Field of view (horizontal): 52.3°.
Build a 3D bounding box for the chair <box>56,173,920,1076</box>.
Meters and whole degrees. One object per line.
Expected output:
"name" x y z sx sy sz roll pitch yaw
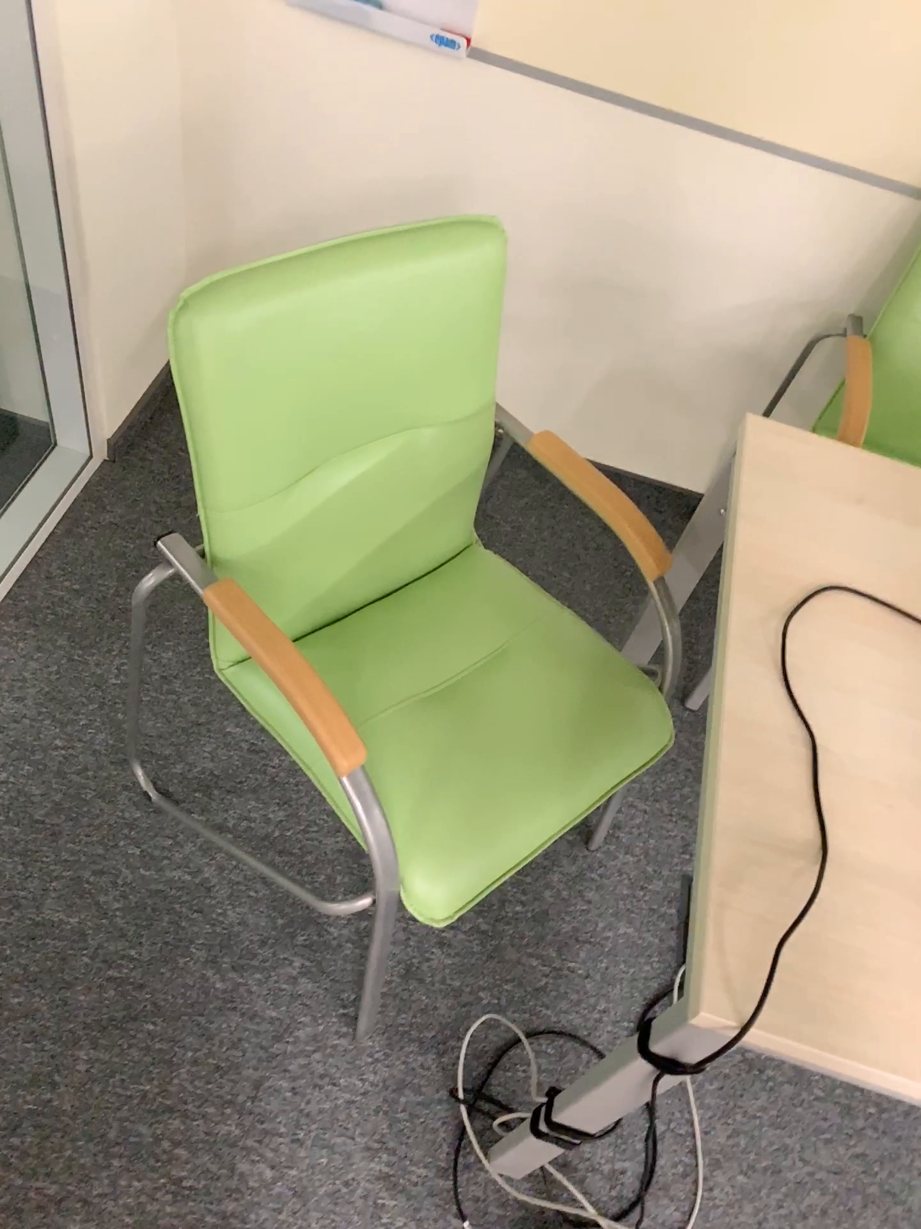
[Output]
"chair" -0.032 0.032 1.313 0.672 0.896 0.651 -28 63 -32
